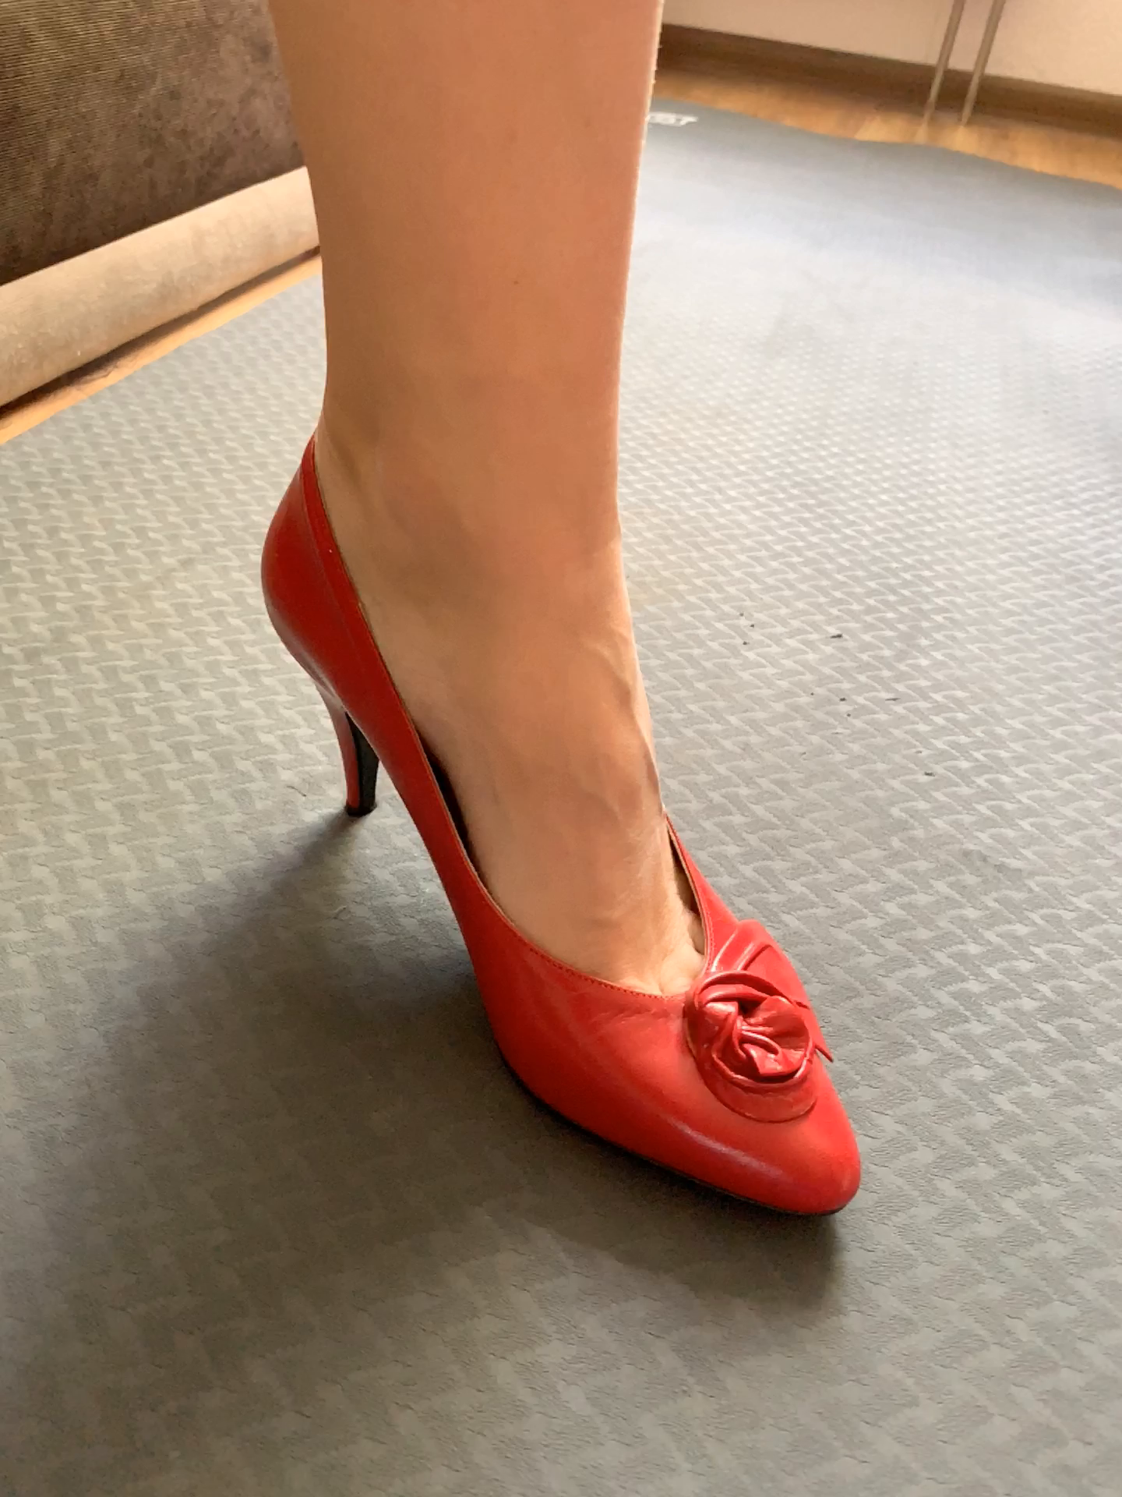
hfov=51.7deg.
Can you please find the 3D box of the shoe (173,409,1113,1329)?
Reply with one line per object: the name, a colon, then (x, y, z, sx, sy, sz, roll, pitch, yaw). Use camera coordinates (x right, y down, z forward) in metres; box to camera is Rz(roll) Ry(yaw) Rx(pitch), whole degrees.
shoe: (0.000, 0.012, 0.289, 0.080, 0.109, 0.211, -28, 50, -37)
